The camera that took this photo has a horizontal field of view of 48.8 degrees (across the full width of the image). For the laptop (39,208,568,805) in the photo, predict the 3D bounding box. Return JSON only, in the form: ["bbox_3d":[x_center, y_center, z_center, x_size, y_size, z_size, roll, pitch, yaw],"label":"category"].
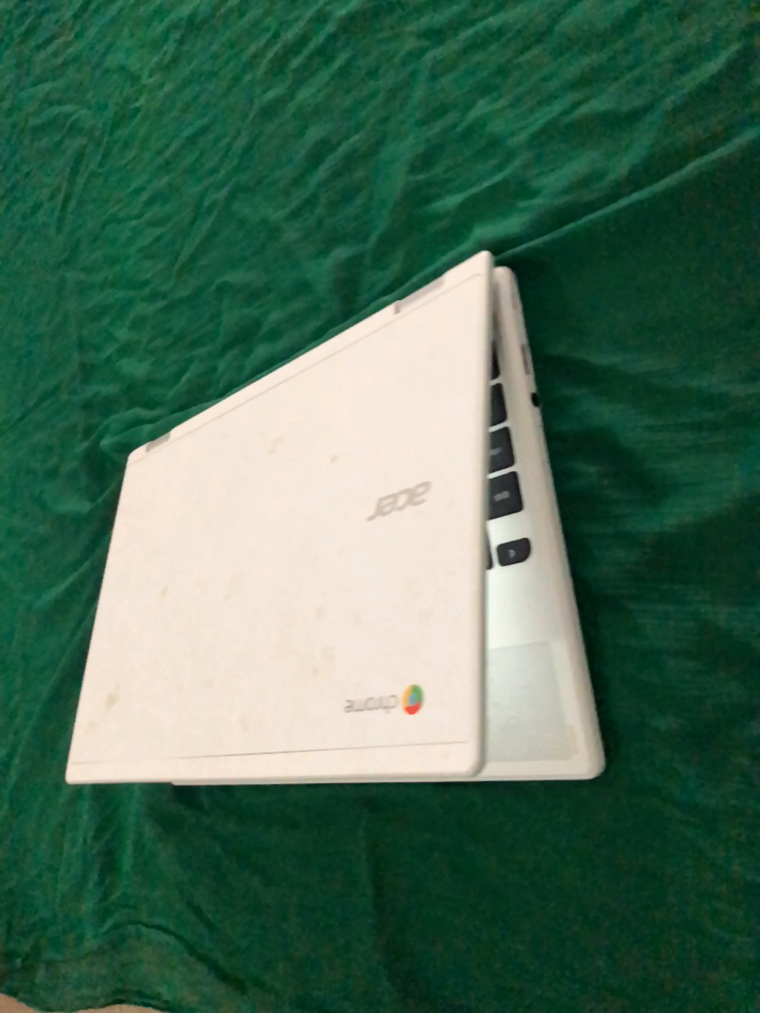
[{"bbox_3d":[-0.065,0.028,0.386,0.282,0.065,0.193,-18,75,44],"label":"laptop"}]
